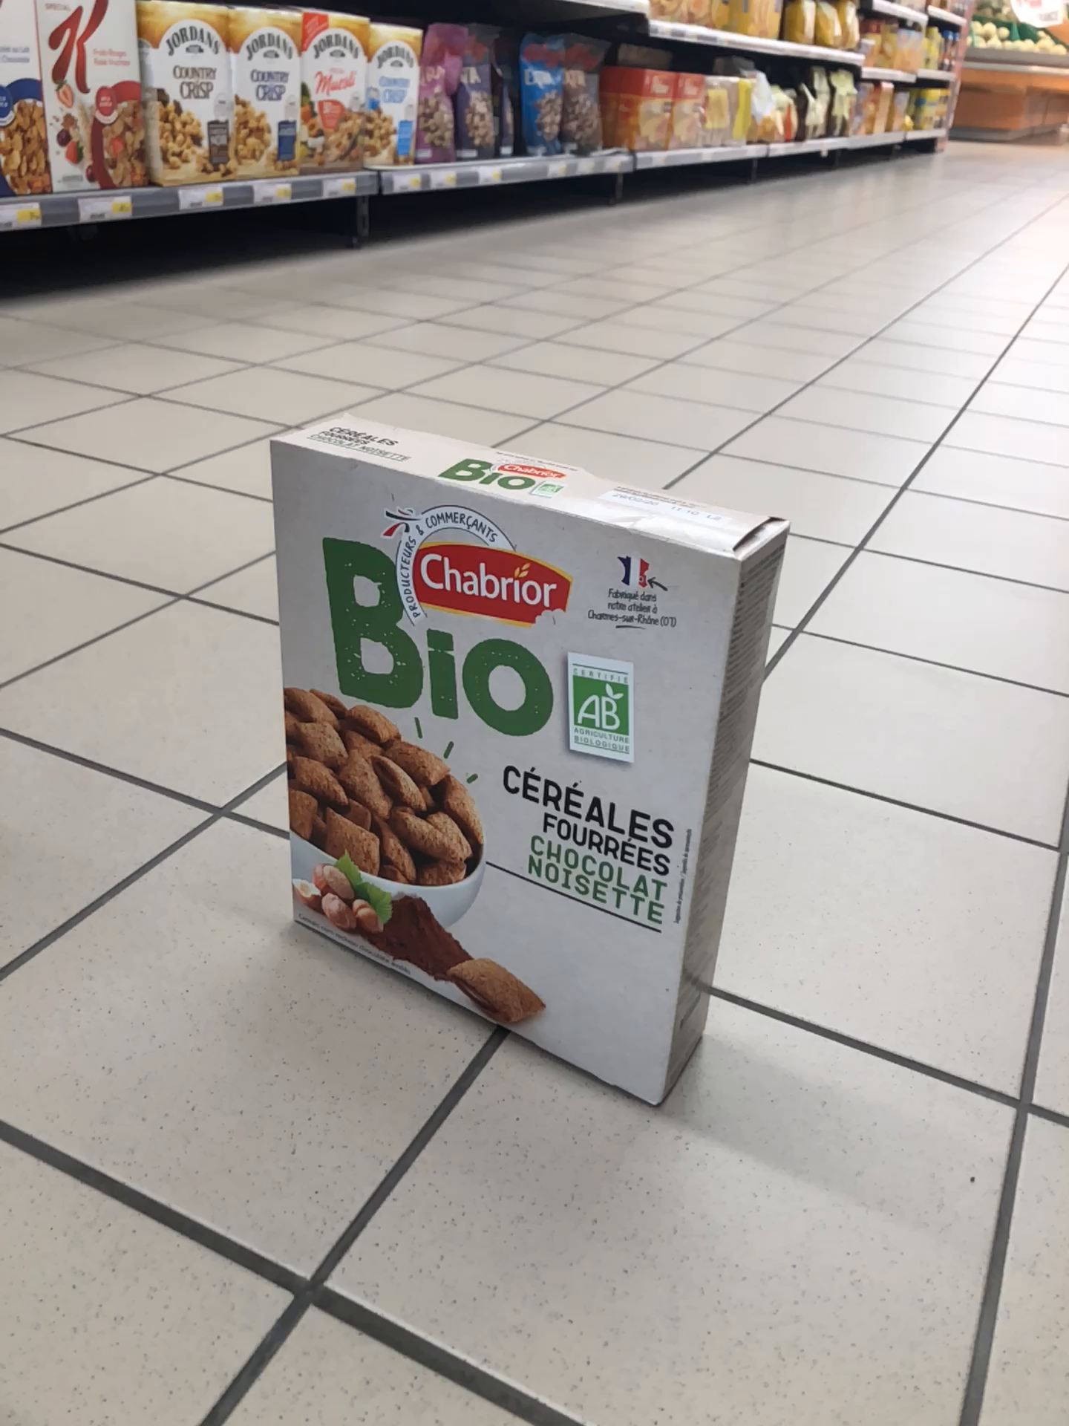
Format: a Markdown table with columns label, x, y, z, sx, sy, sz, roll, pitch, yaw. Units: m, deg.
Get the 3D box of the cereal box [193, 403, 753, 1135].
| label | x | y | z | sx | sy | sz | roll | pitch | yaw |
| --- | --- | --- | --- | --- | --- | --- | --- | --- | --- |
| cereal box | -0.039 | 0.015 | 0.479 | 0.210 | 0.239 | 0.060 | 19 | 27 | 27 |
